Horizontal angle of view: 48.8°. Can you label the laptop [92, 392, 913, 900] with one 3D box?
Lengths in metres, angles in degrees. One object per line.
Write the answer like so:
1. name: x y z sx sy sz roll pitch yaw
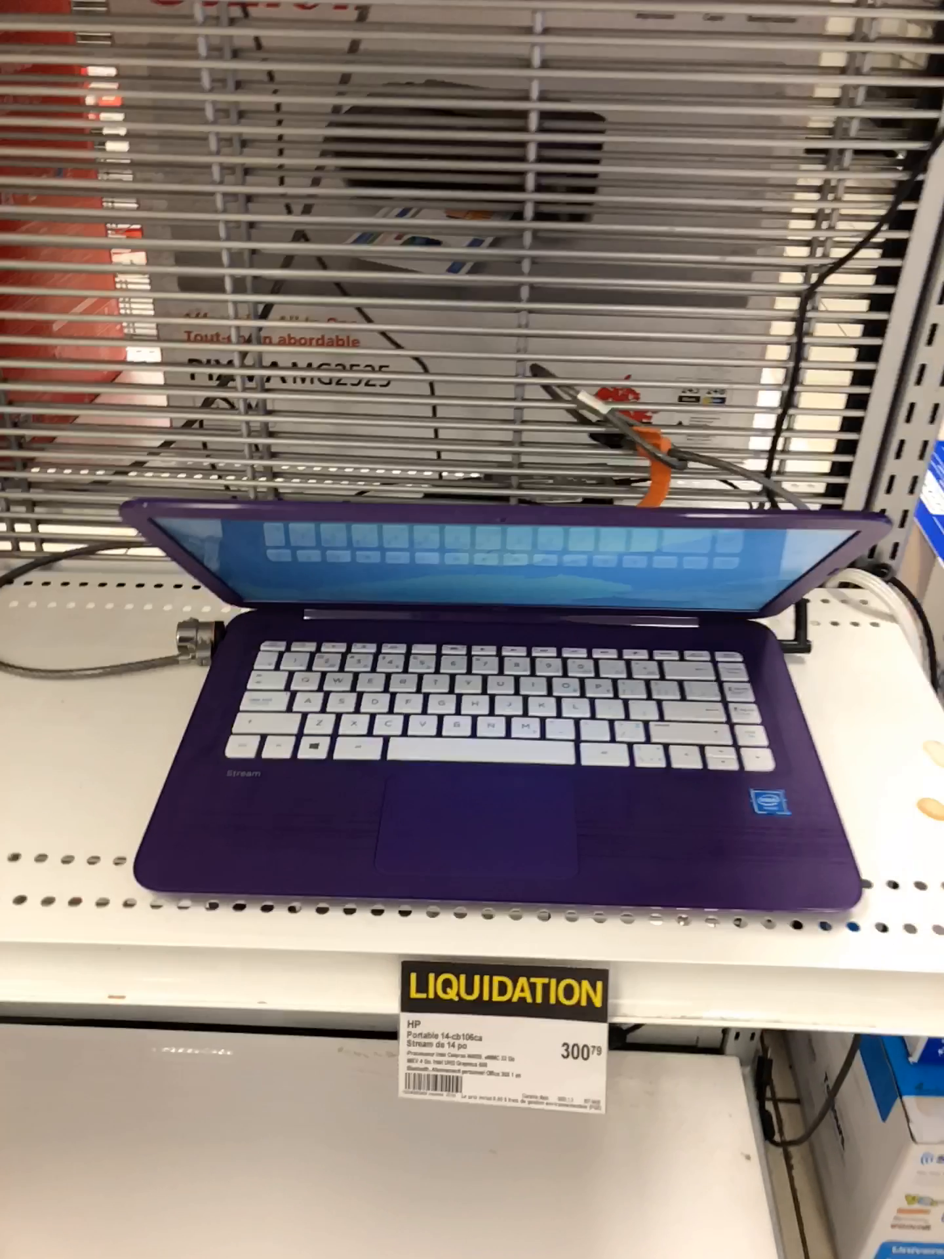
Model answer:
1. laptop: 0.014 -0.003 0.506 0.305 0.138 0.207 1 37 2
